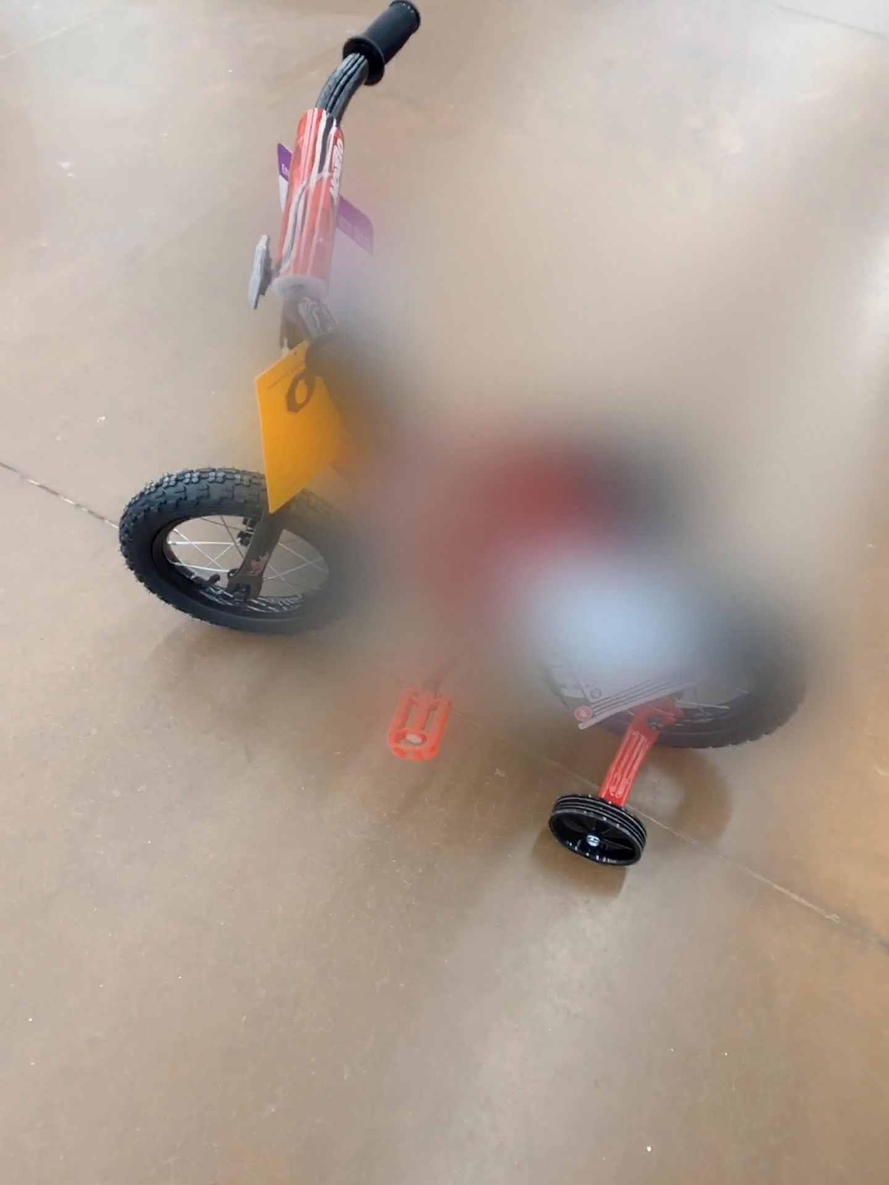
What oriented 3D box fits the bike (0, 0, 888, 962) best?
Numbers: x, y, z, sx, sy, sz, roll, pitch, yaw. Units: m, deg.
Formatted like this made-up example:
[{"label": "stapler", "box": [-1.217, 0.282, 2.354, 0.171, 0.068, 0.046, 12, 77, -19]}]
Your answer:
[{"label": "bike", "box": [0.014, -0.098, 0.770, 0.735, 0.604, 0.441, 15, 53, 4]}]
